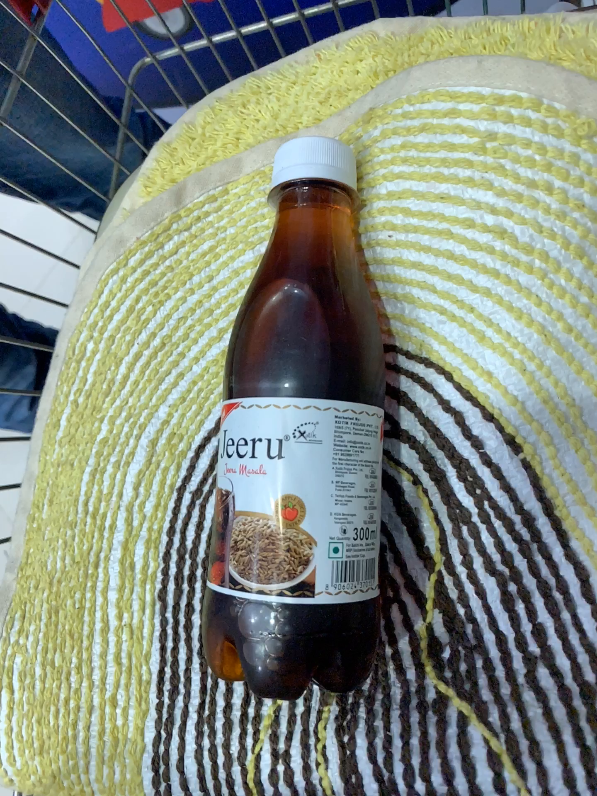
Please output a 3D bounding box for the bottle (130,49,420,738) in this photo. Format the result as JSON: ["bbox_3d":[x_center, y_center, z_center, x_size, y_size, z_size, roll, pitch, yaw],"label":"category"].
[{"bbox_3d":[-0.003,-0.003,0.201,0.060,0.060,0.180,-1,82,31],"label":"bottle"}]
